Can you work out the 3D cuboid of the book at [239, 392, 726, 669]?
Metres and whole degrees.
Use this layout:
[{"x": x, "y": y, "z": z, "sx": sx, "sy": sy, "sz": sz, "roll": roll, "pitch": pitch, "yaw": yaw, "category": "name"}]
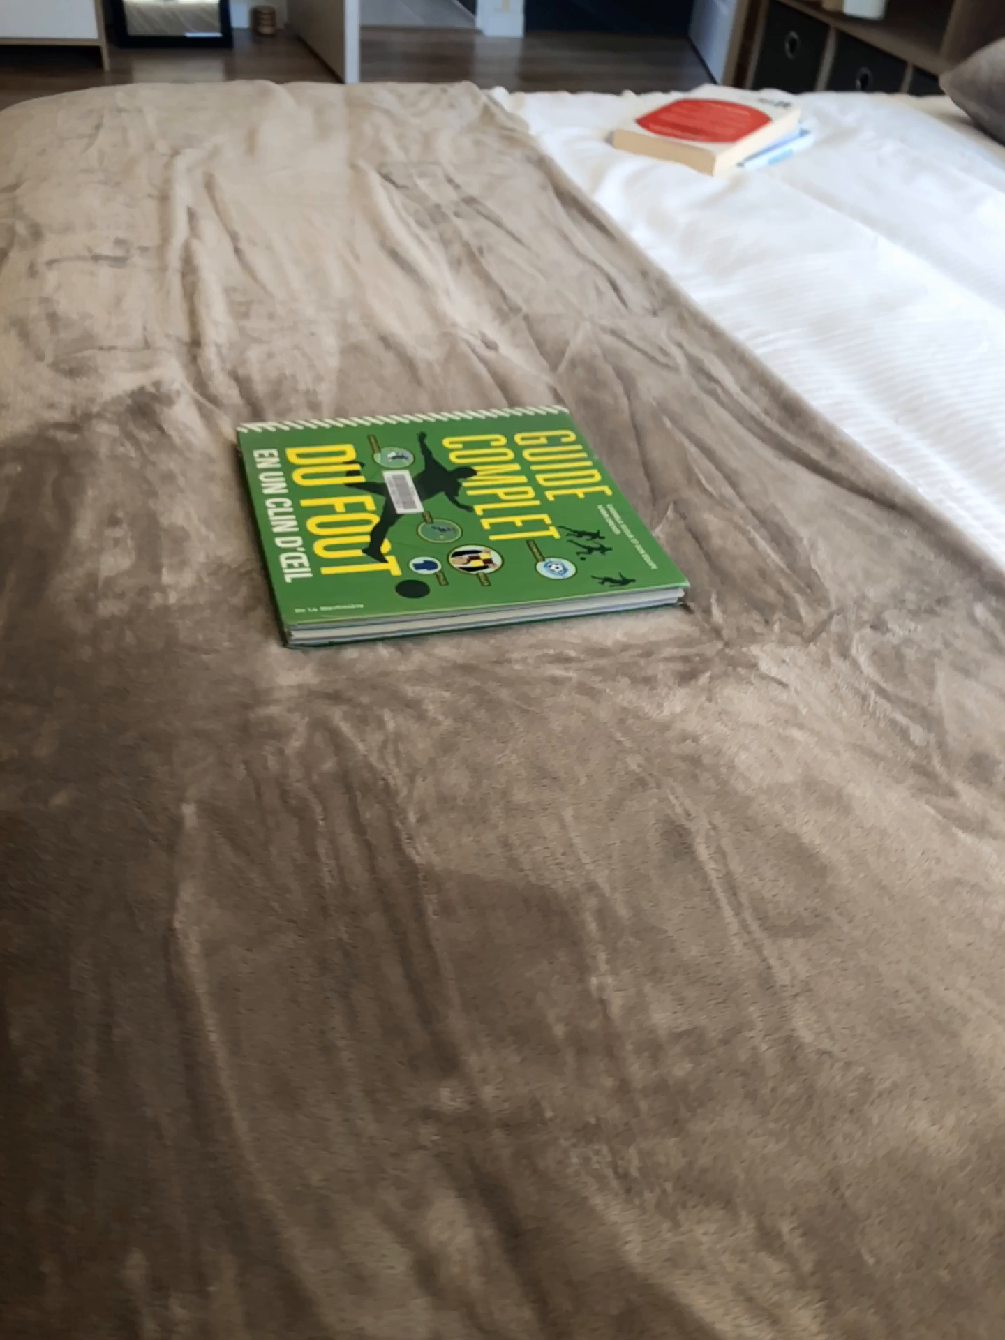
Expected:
[{"x": -0.023, "y": -0.097, "z": 0.666, "sx": 0.239, "sy": 0.018, "sz": 0.228, "roll": -7, "pitch": 43, "yaw": -16, "category": "book"}]
